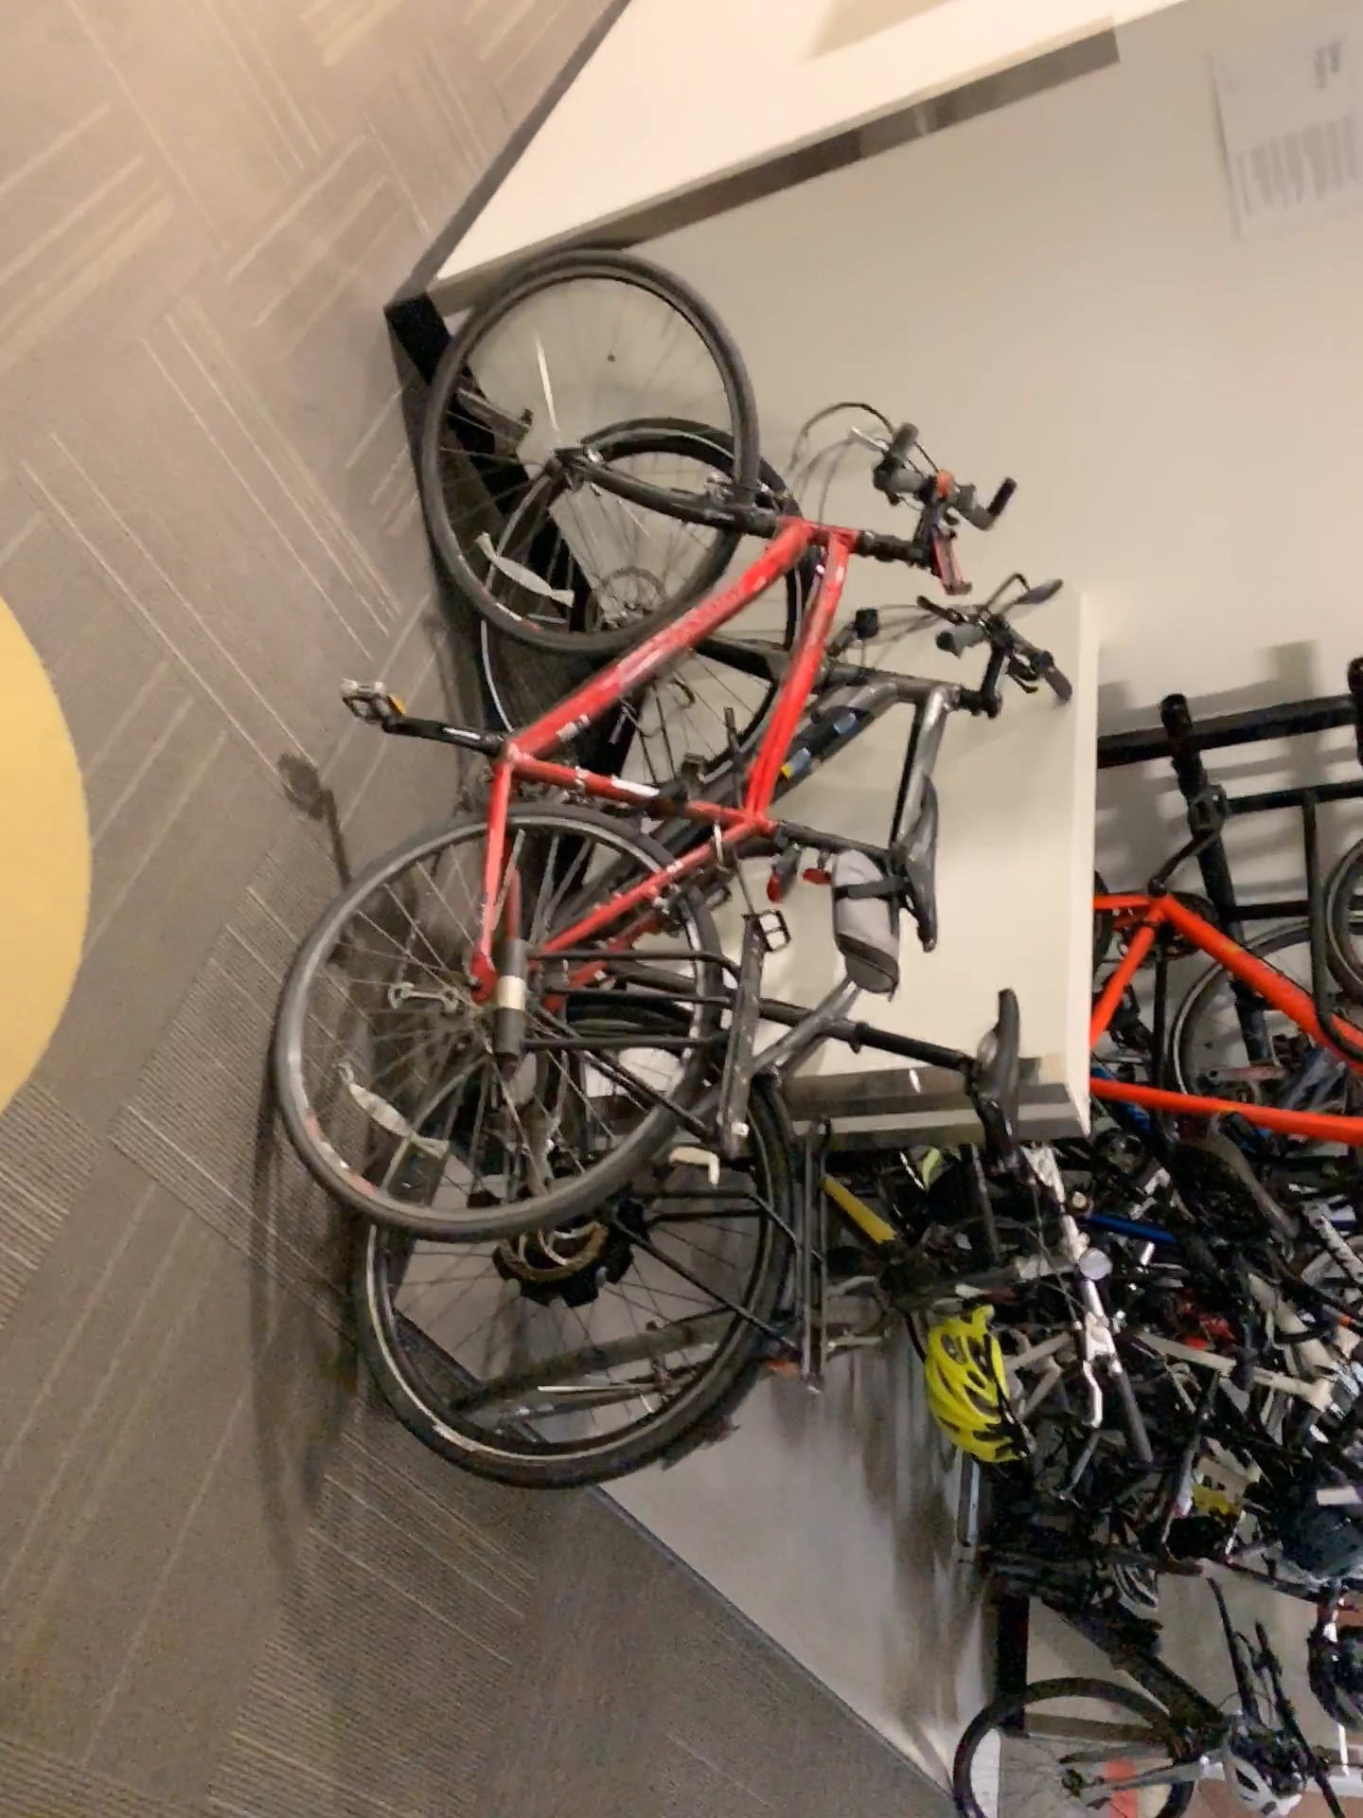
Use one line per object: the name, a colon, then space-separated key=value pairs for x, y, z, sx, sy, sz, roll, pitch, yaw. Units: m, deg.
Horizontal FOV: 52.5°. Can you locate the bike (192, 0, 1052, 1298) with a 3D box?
bike: x=-0.005 y=-0.306 z=2.106 sx=0.606 sy=0.927 sz=1.612 roll=36 pitch=55 yaw=-56

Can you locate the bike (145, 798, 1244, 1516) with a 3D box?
bike: x=0.057 y=0.443 z=1.982 sx=0.696 sy=1.148 sz=0.726 roll=38 pitch=55 yaw=-55
